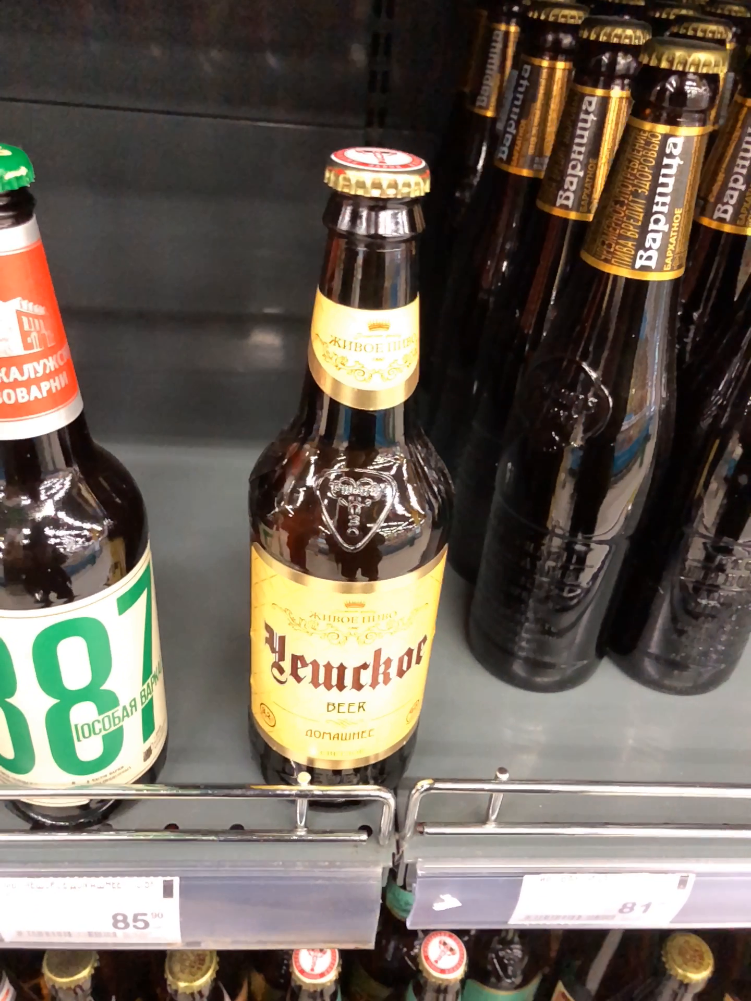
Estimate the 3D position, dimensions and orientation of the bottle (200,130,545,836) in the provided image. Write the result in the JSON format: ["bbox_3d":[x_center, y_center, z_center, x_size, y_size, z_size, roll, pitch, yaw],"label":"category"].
[{"bbox_3d":[-0.013,0.009,0.292,0.080,0.239,0.080,4,35,-2],"label":"bottle"}]
